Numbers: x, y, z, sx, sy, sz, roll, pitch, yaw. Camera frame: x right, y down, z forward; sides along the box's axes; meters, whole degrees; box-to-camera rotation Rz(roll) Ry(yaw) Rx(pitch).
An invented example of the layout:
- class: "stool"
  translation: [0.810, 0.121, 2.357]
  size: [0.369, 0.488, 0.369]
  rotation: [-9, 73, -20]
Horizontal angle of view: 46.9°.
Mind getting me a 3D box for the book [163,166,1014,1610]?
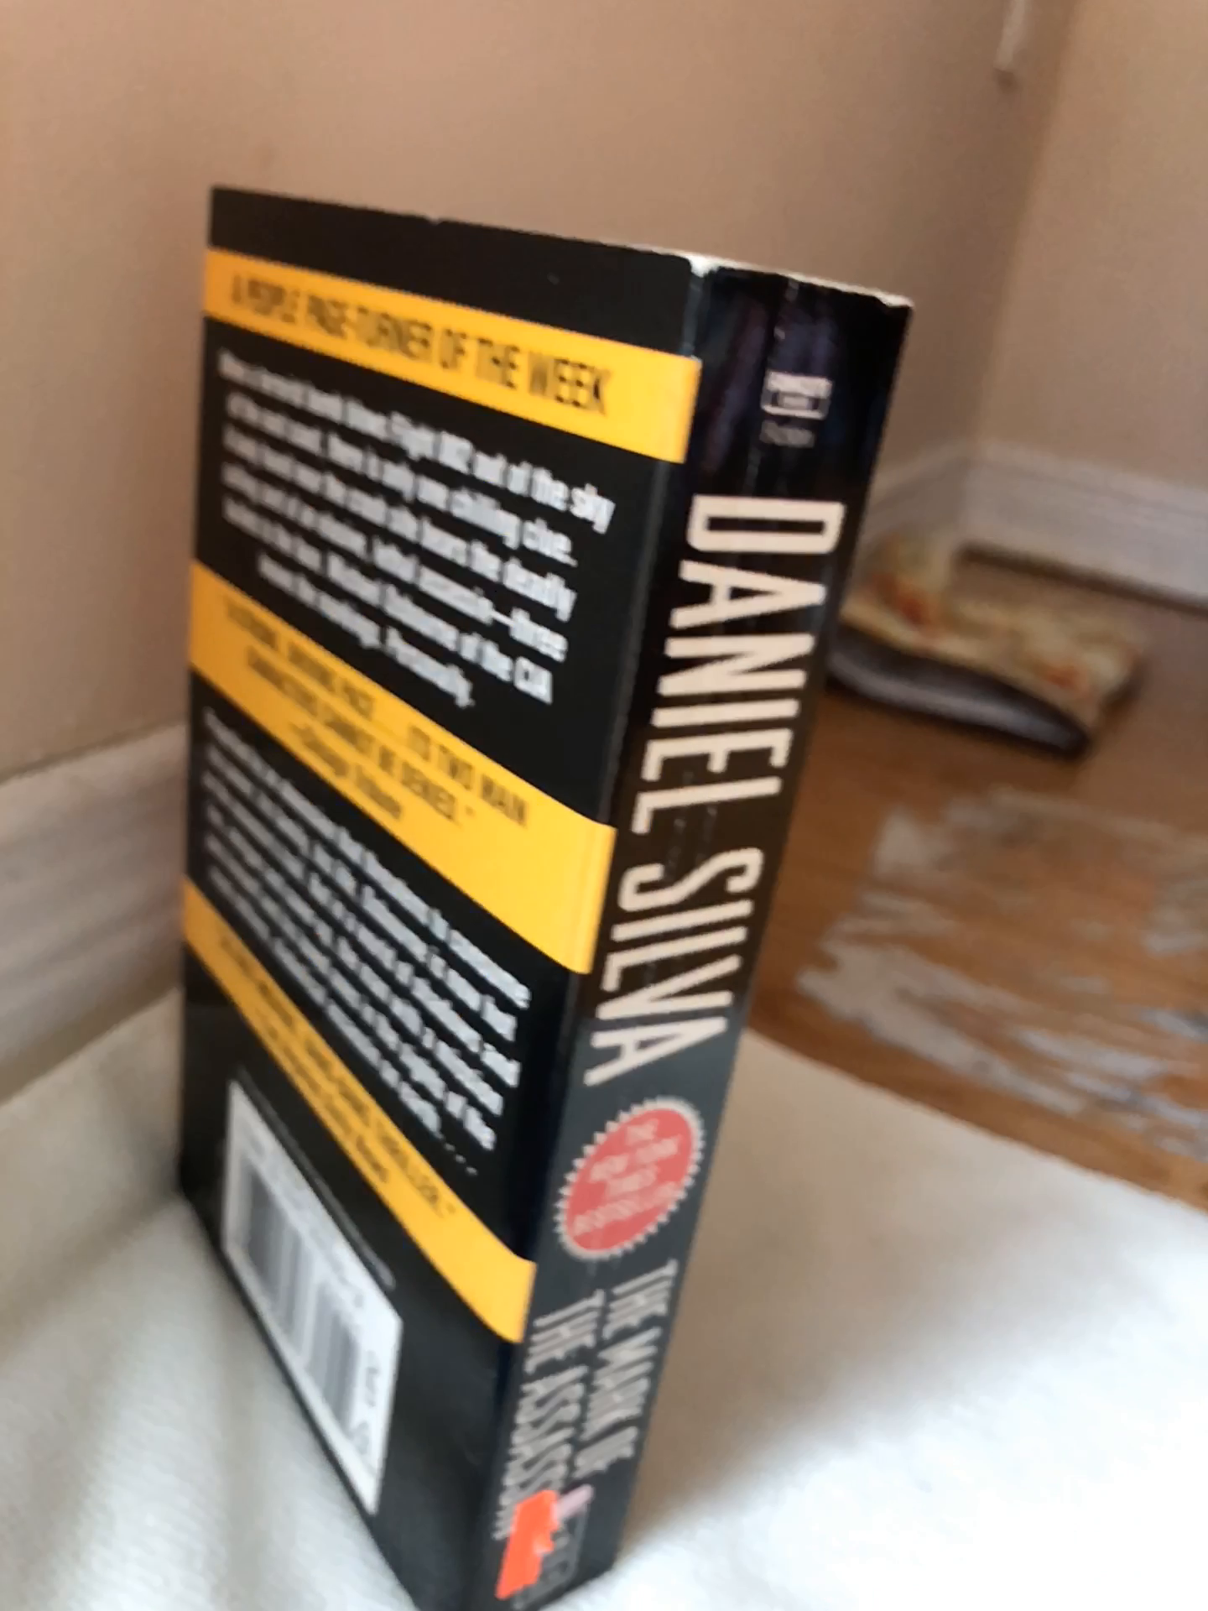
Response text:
- class: "book"
  translation: [-0.022, 0.005, 0.202]
  size: [0.045, 0.169, 0.119]
  rotation: [-5, 25, -33]
